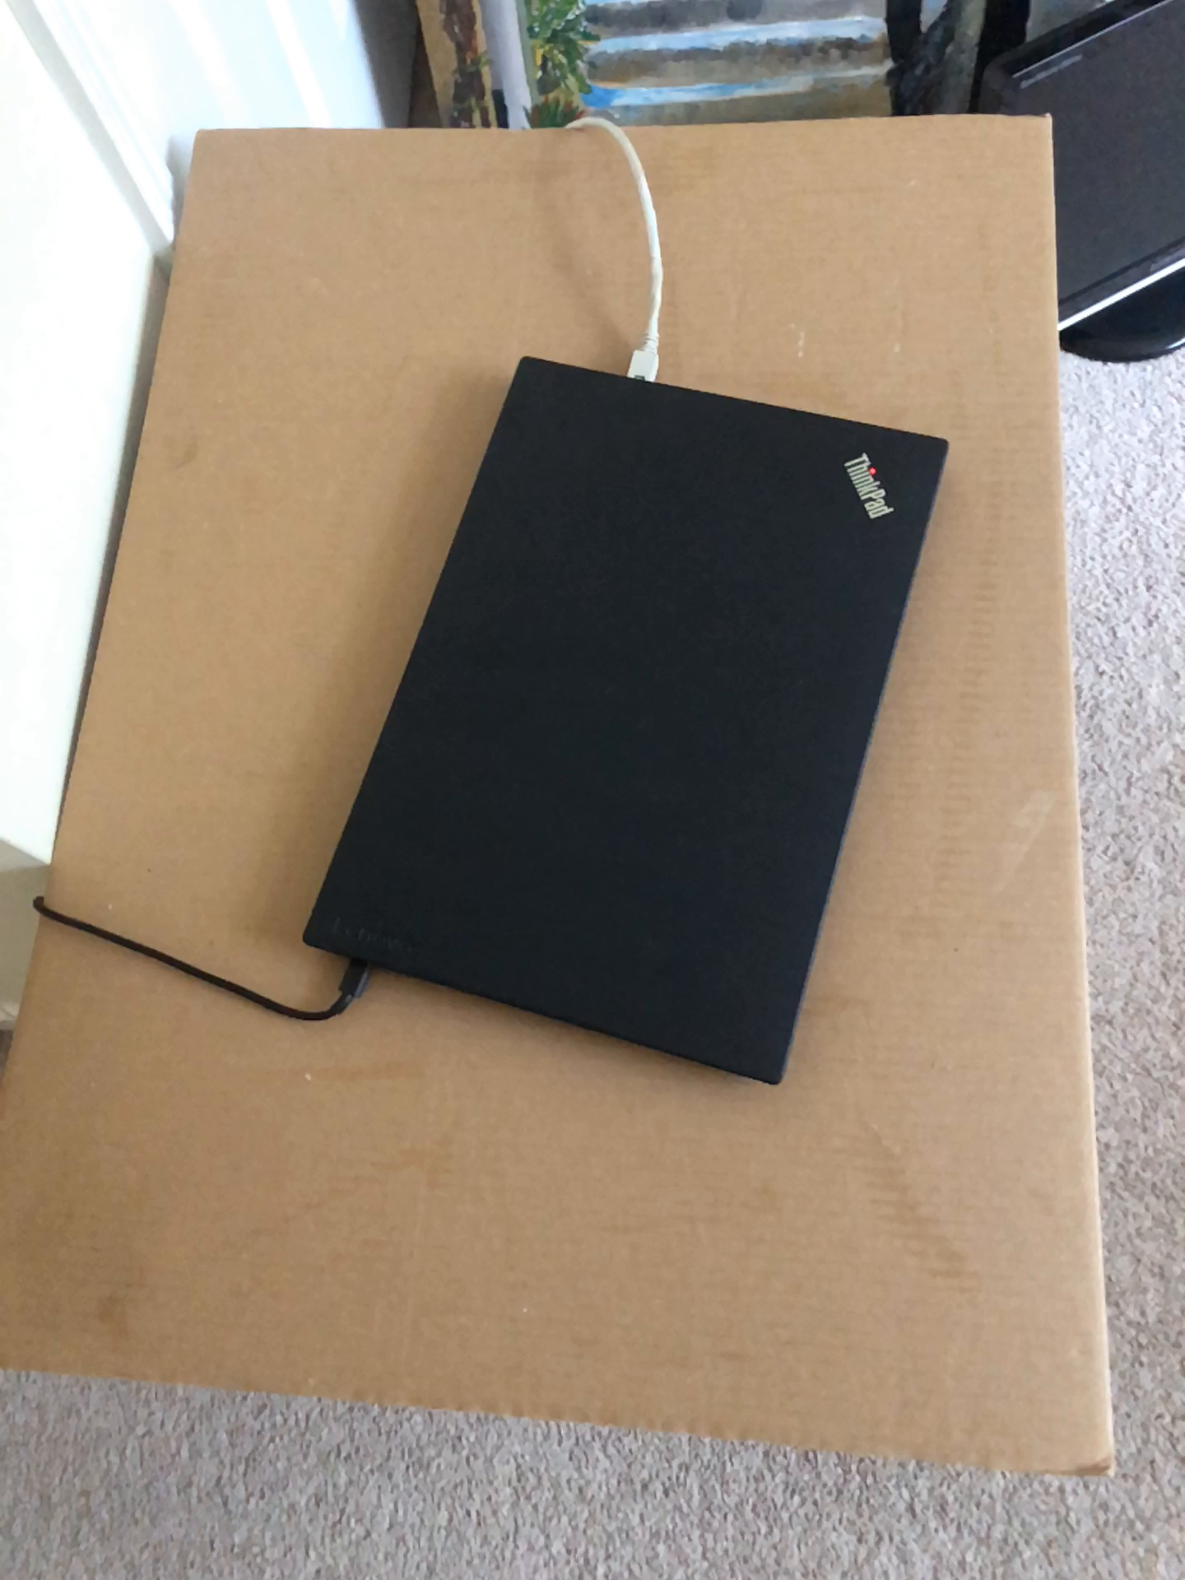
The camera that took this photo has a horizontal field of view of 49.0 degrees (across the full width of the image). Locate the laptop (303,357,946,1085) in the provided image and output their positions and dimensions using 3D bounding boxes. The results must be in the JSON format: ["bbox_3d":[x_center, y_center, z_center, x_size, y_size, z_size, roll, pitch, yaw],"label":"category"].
[{"bbox_3d":[0.022,-0.053,0.622,0.225,0.002,0.328,14,72,12],"label":"laptop"}]
